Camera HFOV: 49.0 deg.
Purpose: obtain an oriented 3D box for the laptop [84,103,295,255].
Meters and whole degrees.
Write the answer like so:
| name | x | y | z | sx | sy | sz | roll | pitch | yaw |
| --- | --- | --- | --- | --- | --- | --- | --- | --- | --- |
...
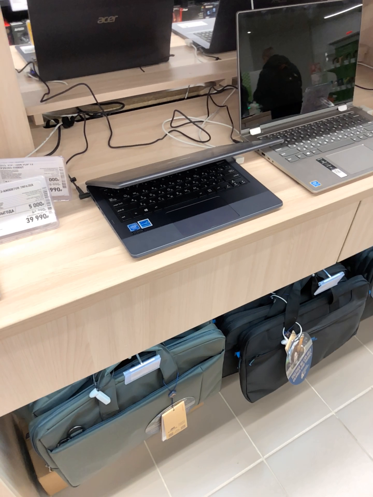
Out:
| name | x | y | z | sx | sy | sz | roll | pitch | yaw |
| --- | --- | --- | --- | --- | --- | --- | --- | --- | --- |
| laptop | 0.001 | -0.127 | 0.662 | 0.272 | 0.097 | 0.185 | -20 | 48 | -22 |
